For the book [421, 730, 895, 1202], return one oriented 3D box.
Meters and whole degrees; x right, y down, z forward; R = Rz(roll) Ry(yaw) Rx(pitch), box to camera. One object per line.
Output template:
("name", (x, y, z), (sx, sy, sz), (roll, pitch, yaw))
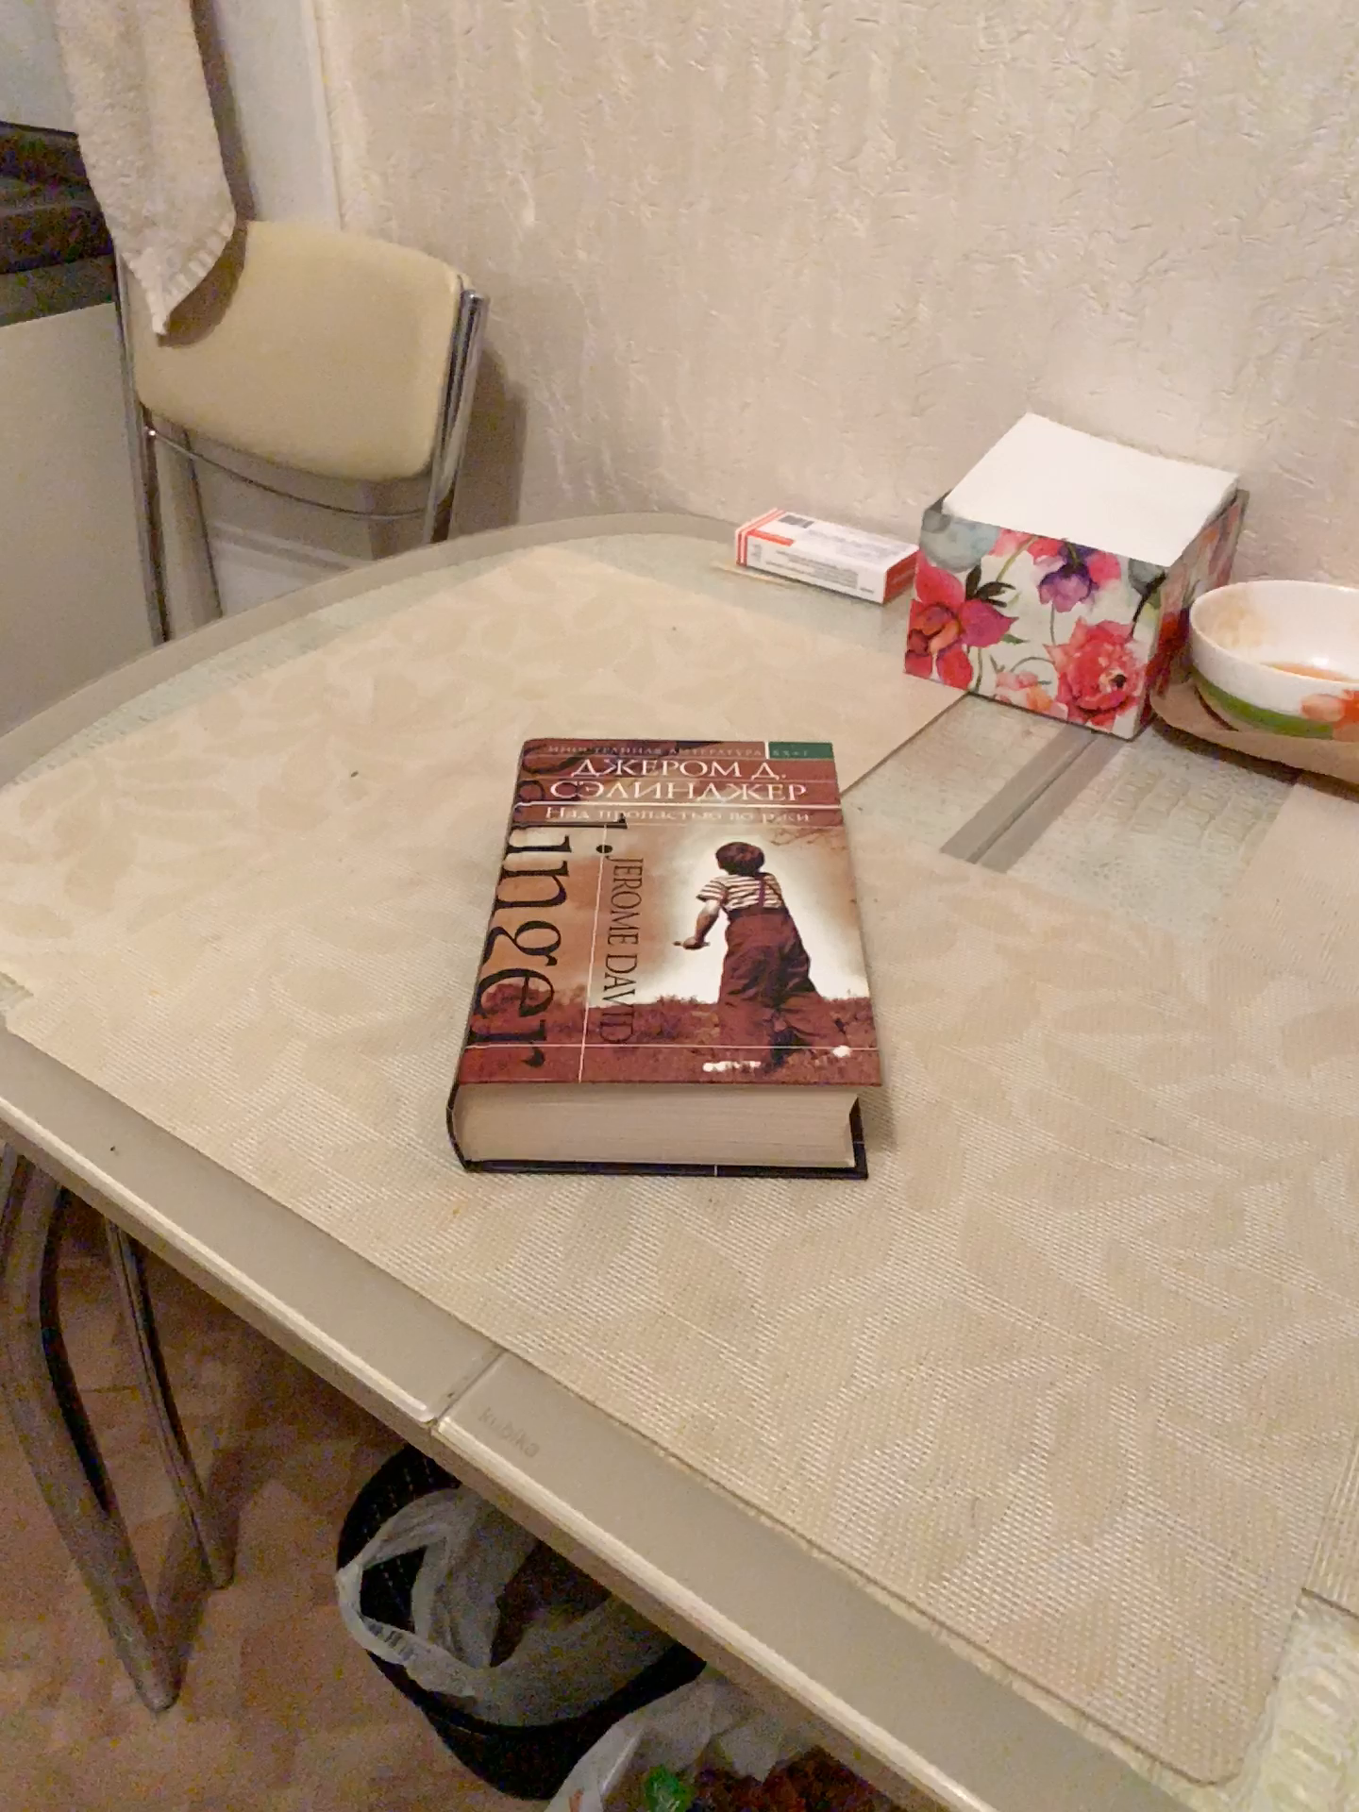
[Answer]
("book", (-0.005, 0.011, 0.542), (0.150, 0.049, 0.222), (1, 38, 1))
